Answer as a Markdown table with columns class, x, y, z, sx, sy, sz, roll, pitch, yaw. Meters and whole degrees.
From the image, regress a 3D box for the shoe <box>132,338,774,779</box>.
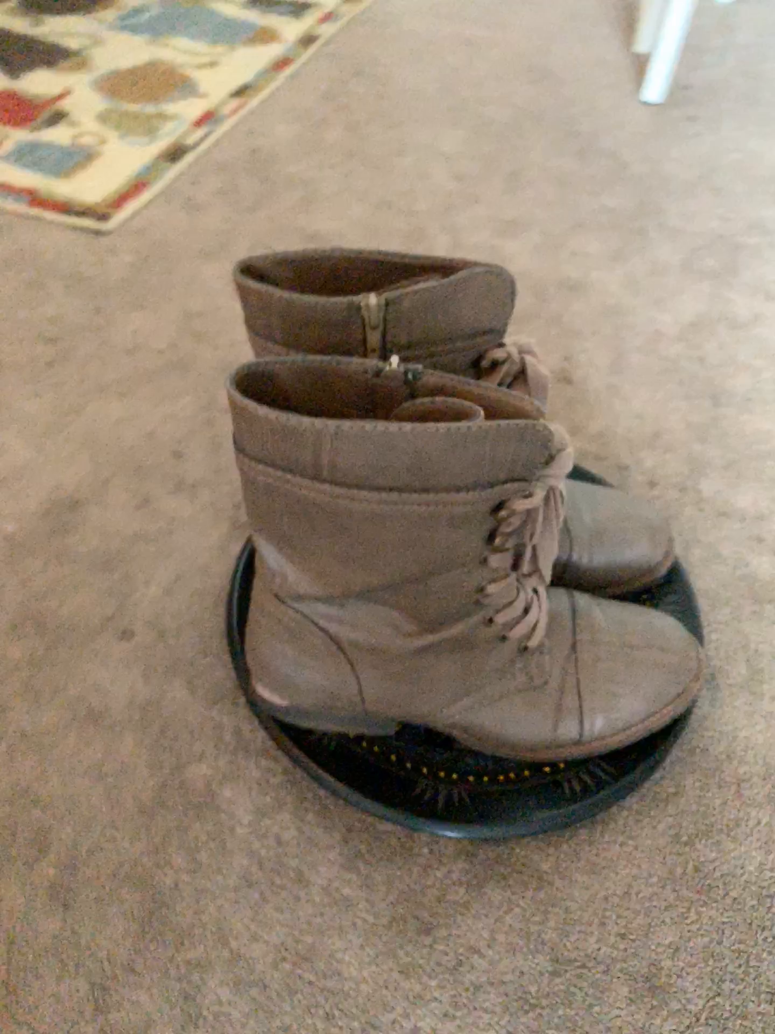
| class | x | y | z | sx | sy | sz | roll | pitch | yaw |
| --- | --- | --- | --- | --- | --- | --- | --- | --- | --- |
| shoe | 0.051 | 0.030 | 0.374 | 0.270 | 0.198 | 0.101 | 1 | 49 | 0 |

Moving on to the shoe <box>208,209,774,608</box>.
| class | x | y | z | sx | sy | sz | roll | pitch | yaw |
| --- | --- | --- | --- | --- | --- | --- | --- | --- | --- |
| shoe | 0.056 | -0.050 | 0.446 | 0.260 | 0.198 | 0.101 | 1 | 49 | 0 |
